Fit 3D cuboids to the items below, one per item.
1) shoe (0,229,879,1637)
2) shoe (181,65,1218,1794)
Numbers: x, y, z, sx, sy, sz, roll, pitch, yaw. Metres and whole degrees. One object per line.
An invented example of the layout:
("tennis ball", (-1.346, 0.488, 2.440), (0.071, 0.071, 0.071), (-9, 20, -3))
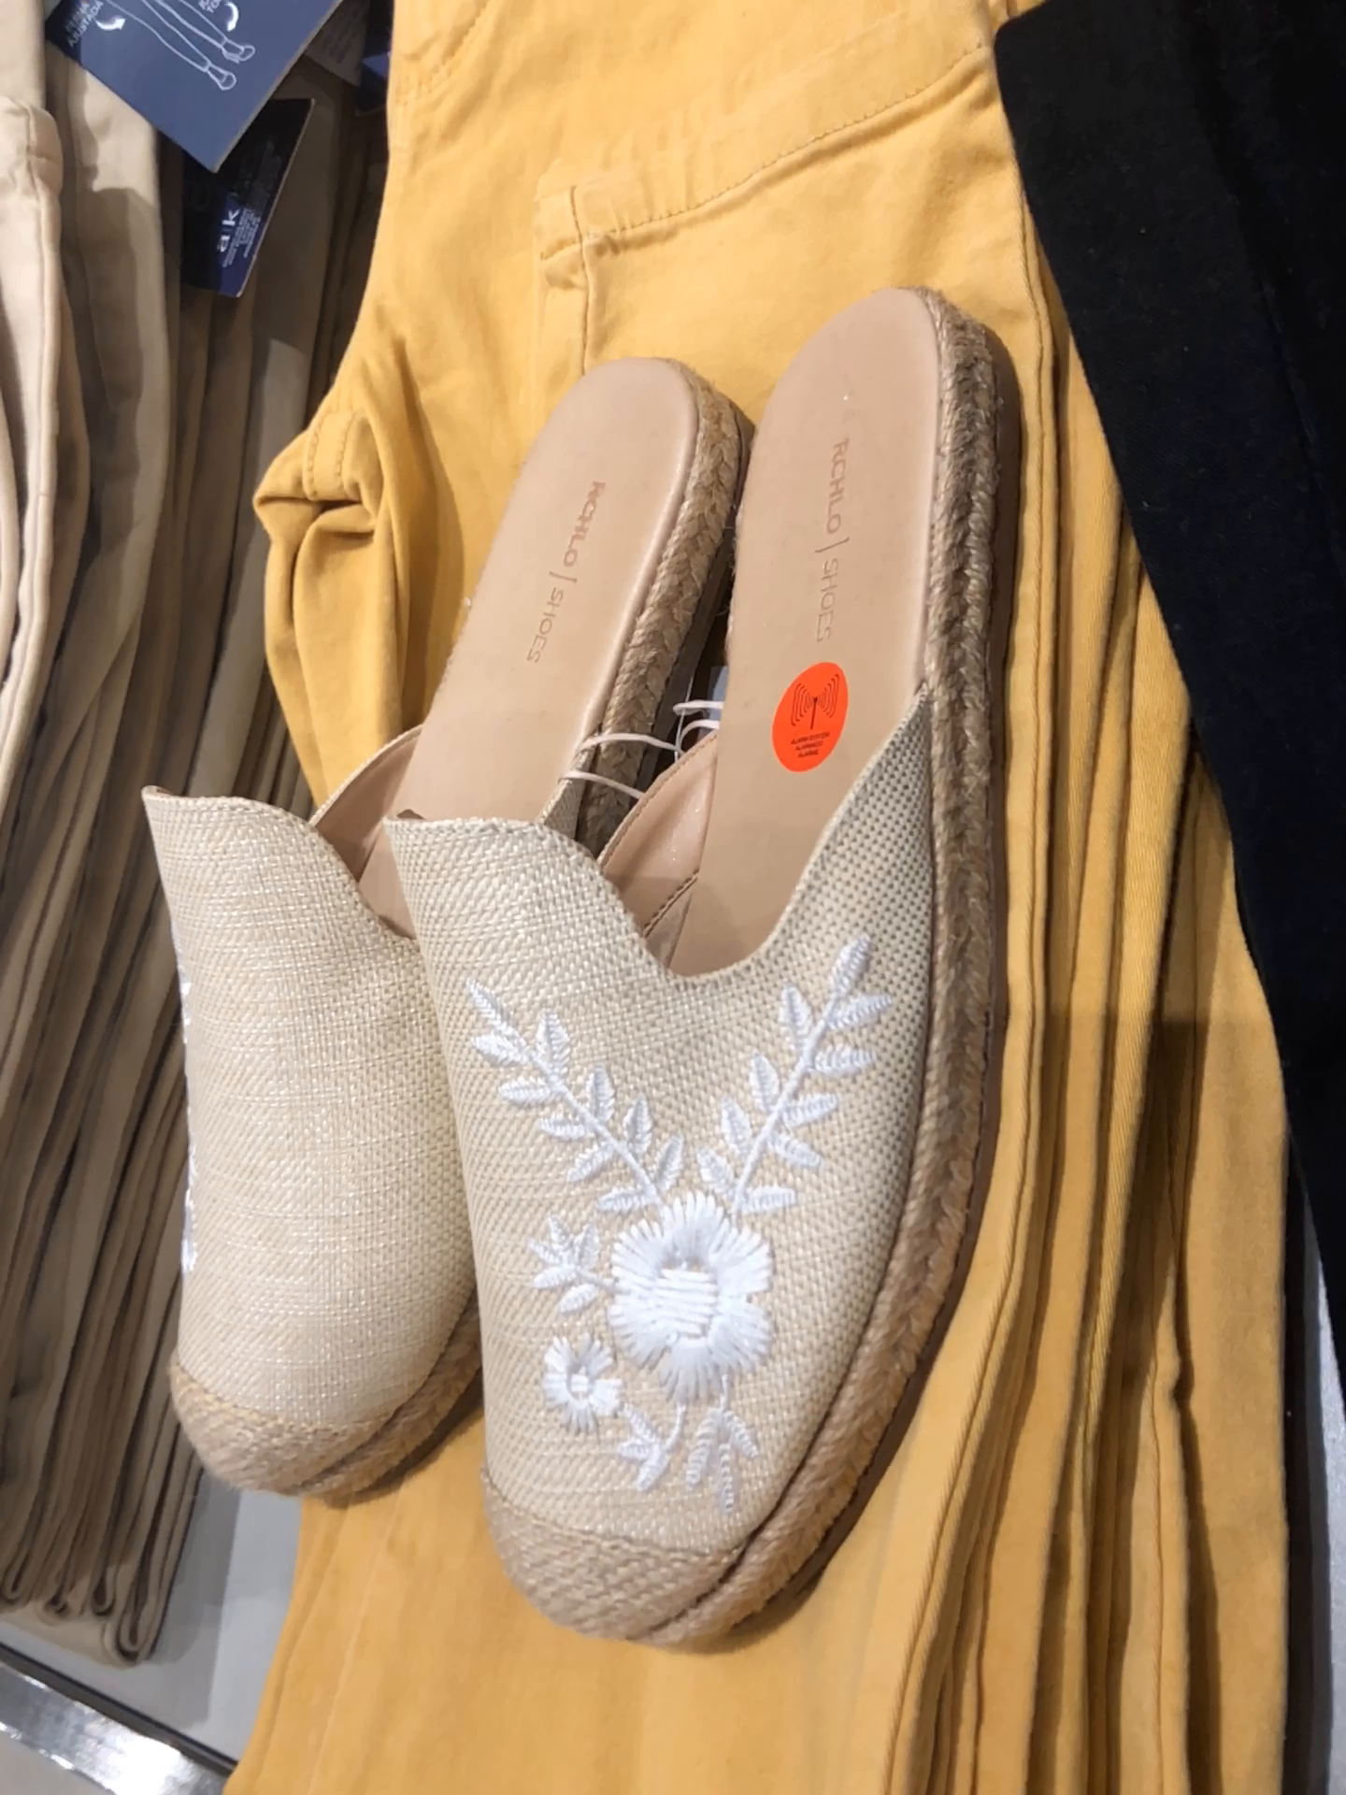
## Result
("shoe", (-0.057, 0.003, 0.292), (0.090, 0.070, 0.240), (18, 84, 45))
("shoe", (0.010, 0.004, 0.245), (0.090, 0.070, 0.240), (4, 75, 44))
